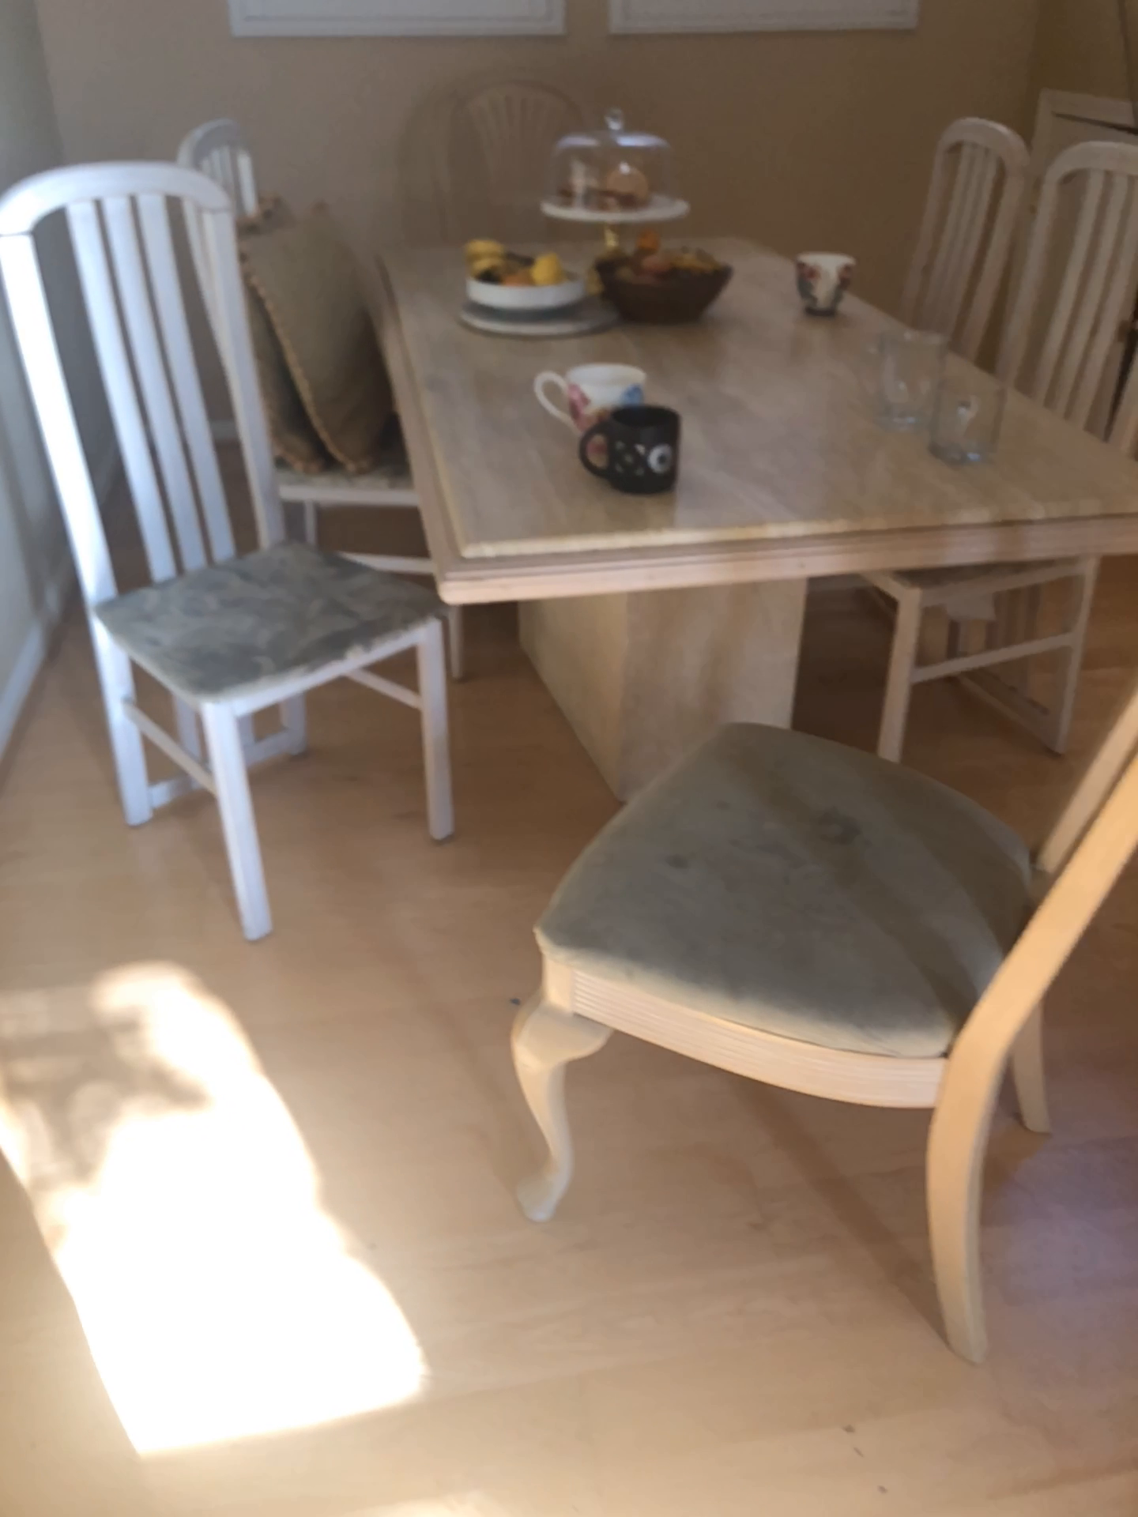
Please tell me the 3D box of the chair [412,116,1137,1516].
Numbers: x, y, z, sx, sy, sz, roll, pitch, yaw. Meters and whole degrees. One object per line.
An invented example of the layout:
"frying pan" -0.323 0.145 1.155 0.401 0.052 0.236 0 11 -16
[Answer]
"chair" 0.287 0.088 1.348 0.630 1.288 0.595 19 36 24

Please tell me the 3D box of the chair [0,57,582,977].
"chair" -0.454 -0.462 2.344 0.634 1.448 0.672 -26 37 -35
